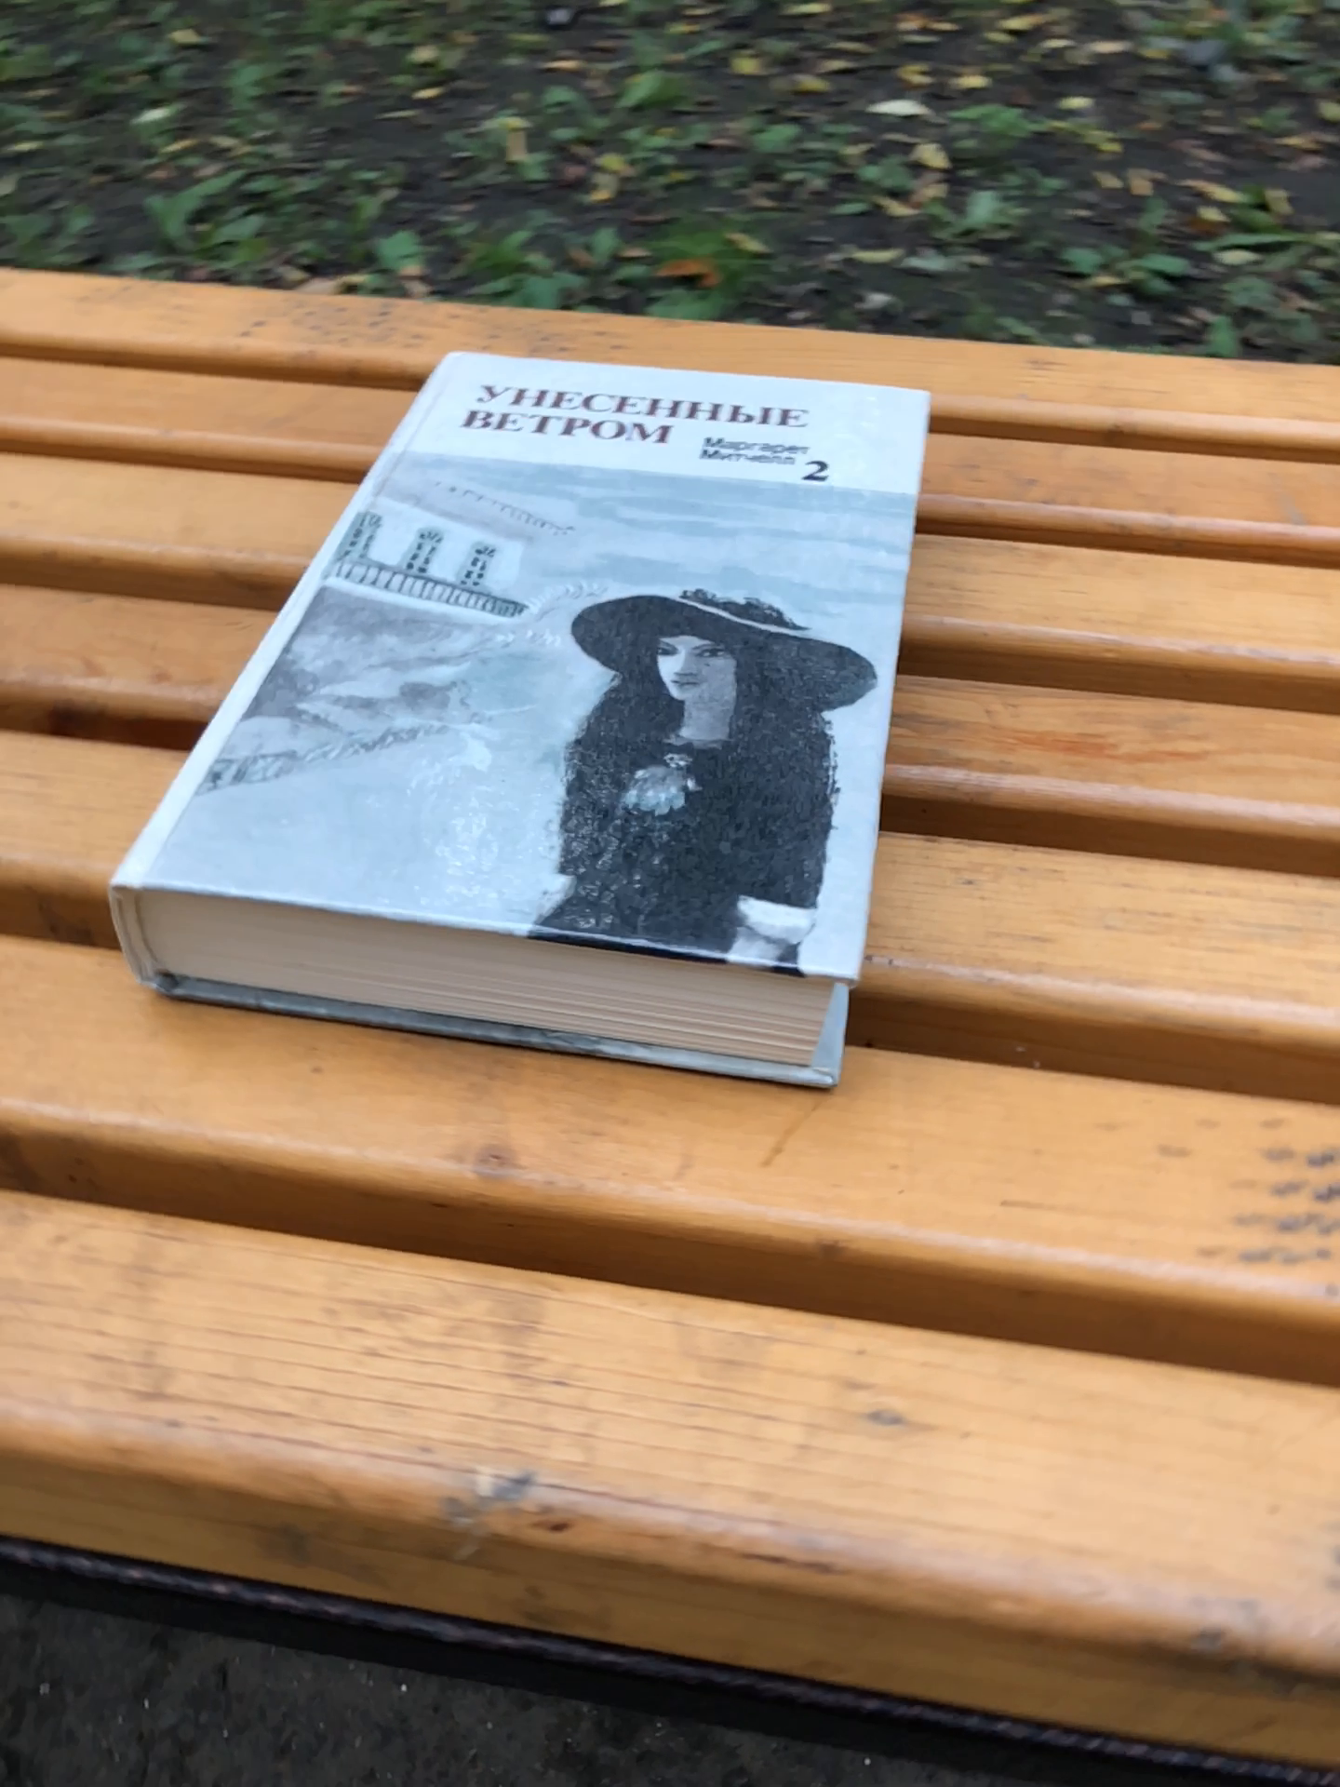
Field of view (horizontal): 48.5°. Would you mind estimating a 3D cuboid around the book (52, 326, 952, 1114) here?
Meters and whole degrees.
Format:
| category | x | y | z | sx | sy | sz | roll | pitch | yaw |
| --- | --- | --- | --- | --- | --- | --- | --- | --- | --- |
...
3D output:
| category | x | y | z | sx | sy | sz | roll | pitch | yaw |
| --- | --- | --- | --- | --- | --- | --- | --- | --- | --- |
| book | -0.016 | -0.056 | 0.325 | 0.140 | 0.030 | 0.211 | 7 | 46 | 7 |
